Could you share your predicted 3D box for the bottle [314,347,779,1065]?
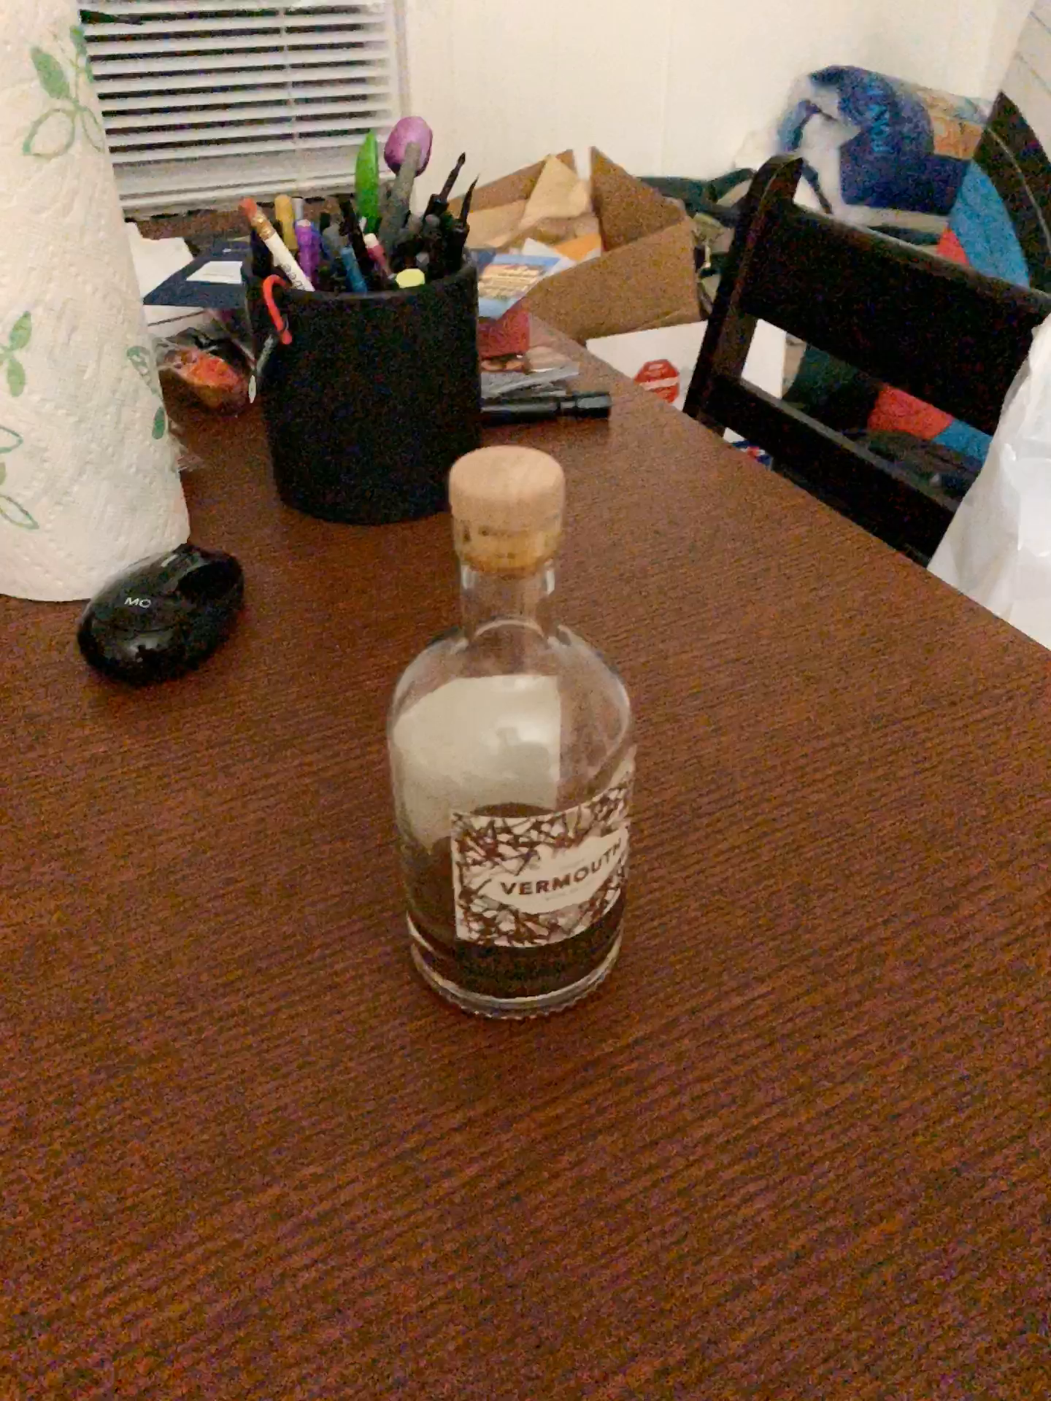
[{"bbox_3d":[0.003,0.006,0.331,0.090,0.189,0.080,-19,41,-23],"label":"bottle"}]
